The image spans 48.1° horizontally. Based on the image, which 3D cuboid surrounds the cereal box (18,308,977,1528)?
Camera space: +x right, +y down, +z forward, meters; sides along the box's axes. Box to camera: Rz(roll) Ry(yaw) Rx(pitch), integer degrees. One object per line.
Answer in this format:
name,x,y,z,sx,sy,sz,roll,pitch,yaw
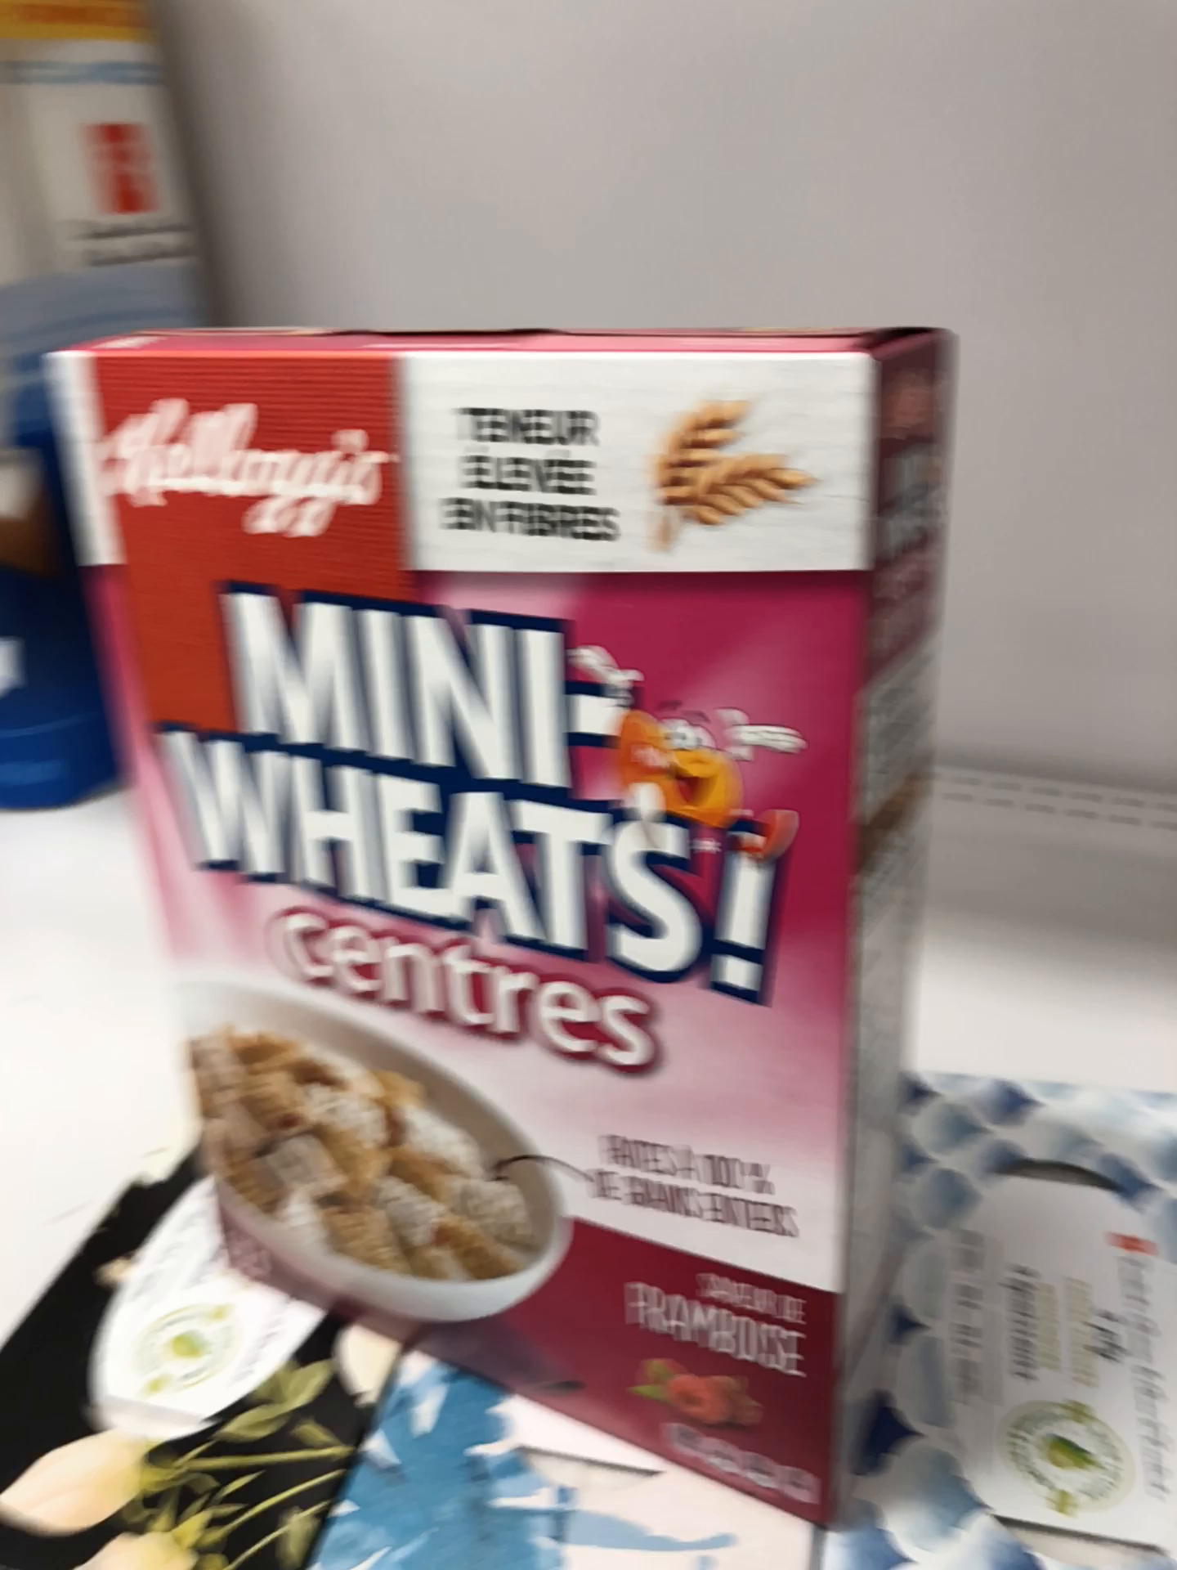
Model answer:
cereal box,-0.025,0.026,0.330,0.210,0.269,0.050,10,25,27
